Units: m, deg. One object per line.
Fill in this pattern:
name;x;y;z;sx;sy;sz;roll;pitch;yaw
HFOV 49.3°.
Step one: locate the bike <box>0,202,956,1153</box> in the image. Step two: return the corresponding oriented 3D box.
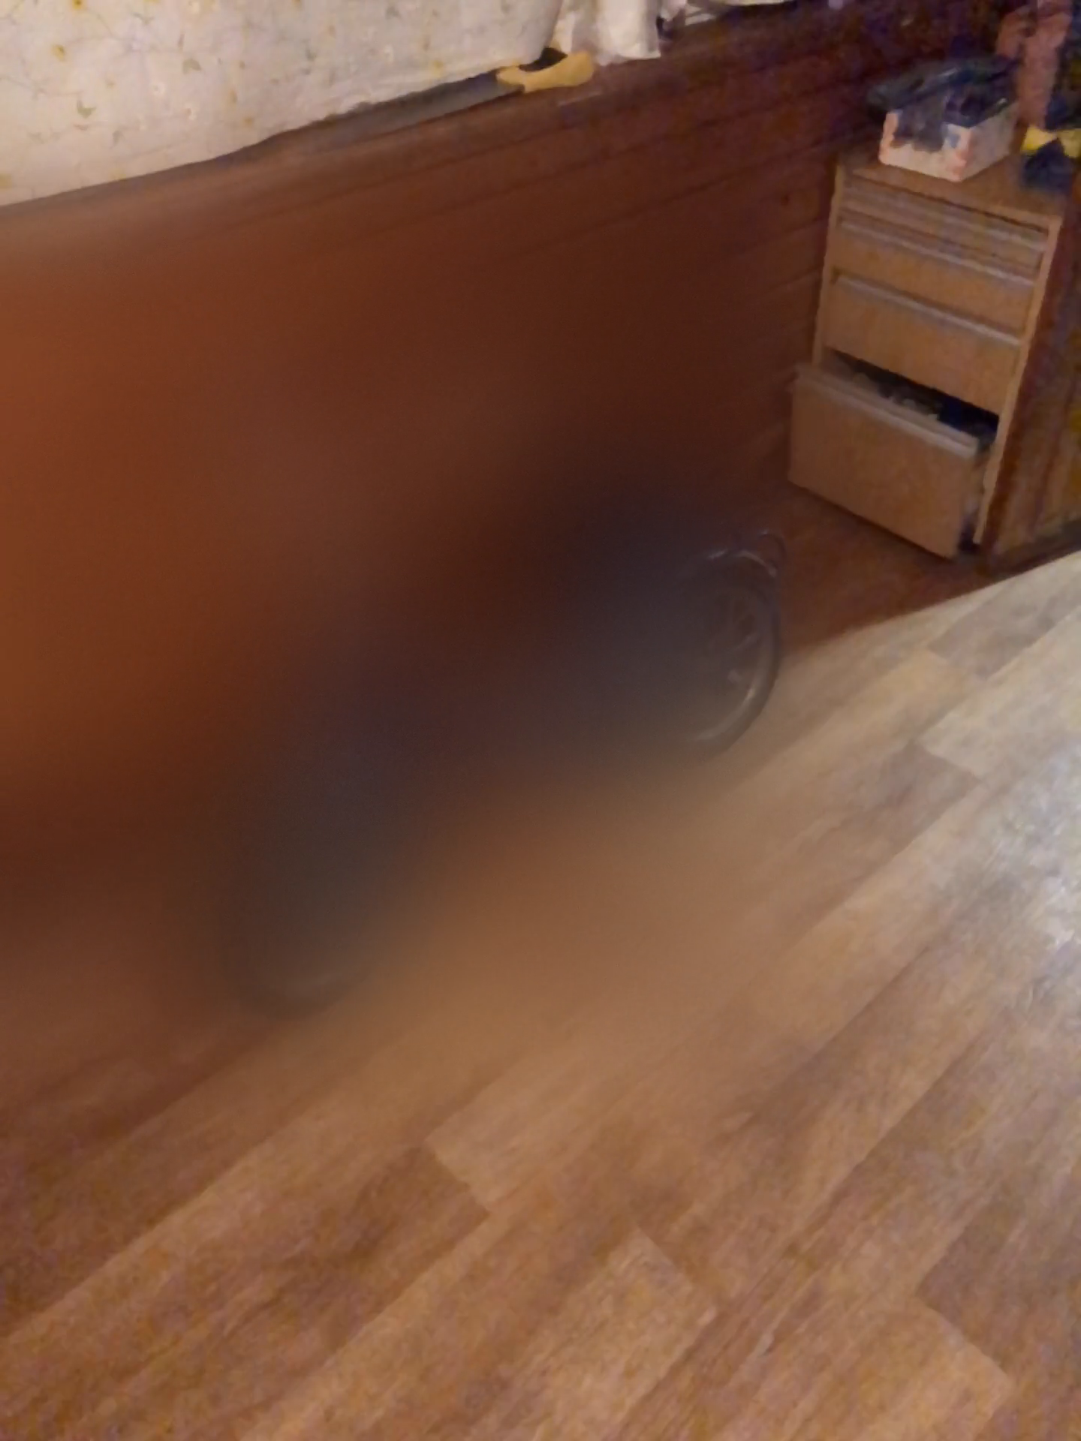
bike;-0.053;-0.134;1.498;0.959;0.697;0.595;-29;49;-30
